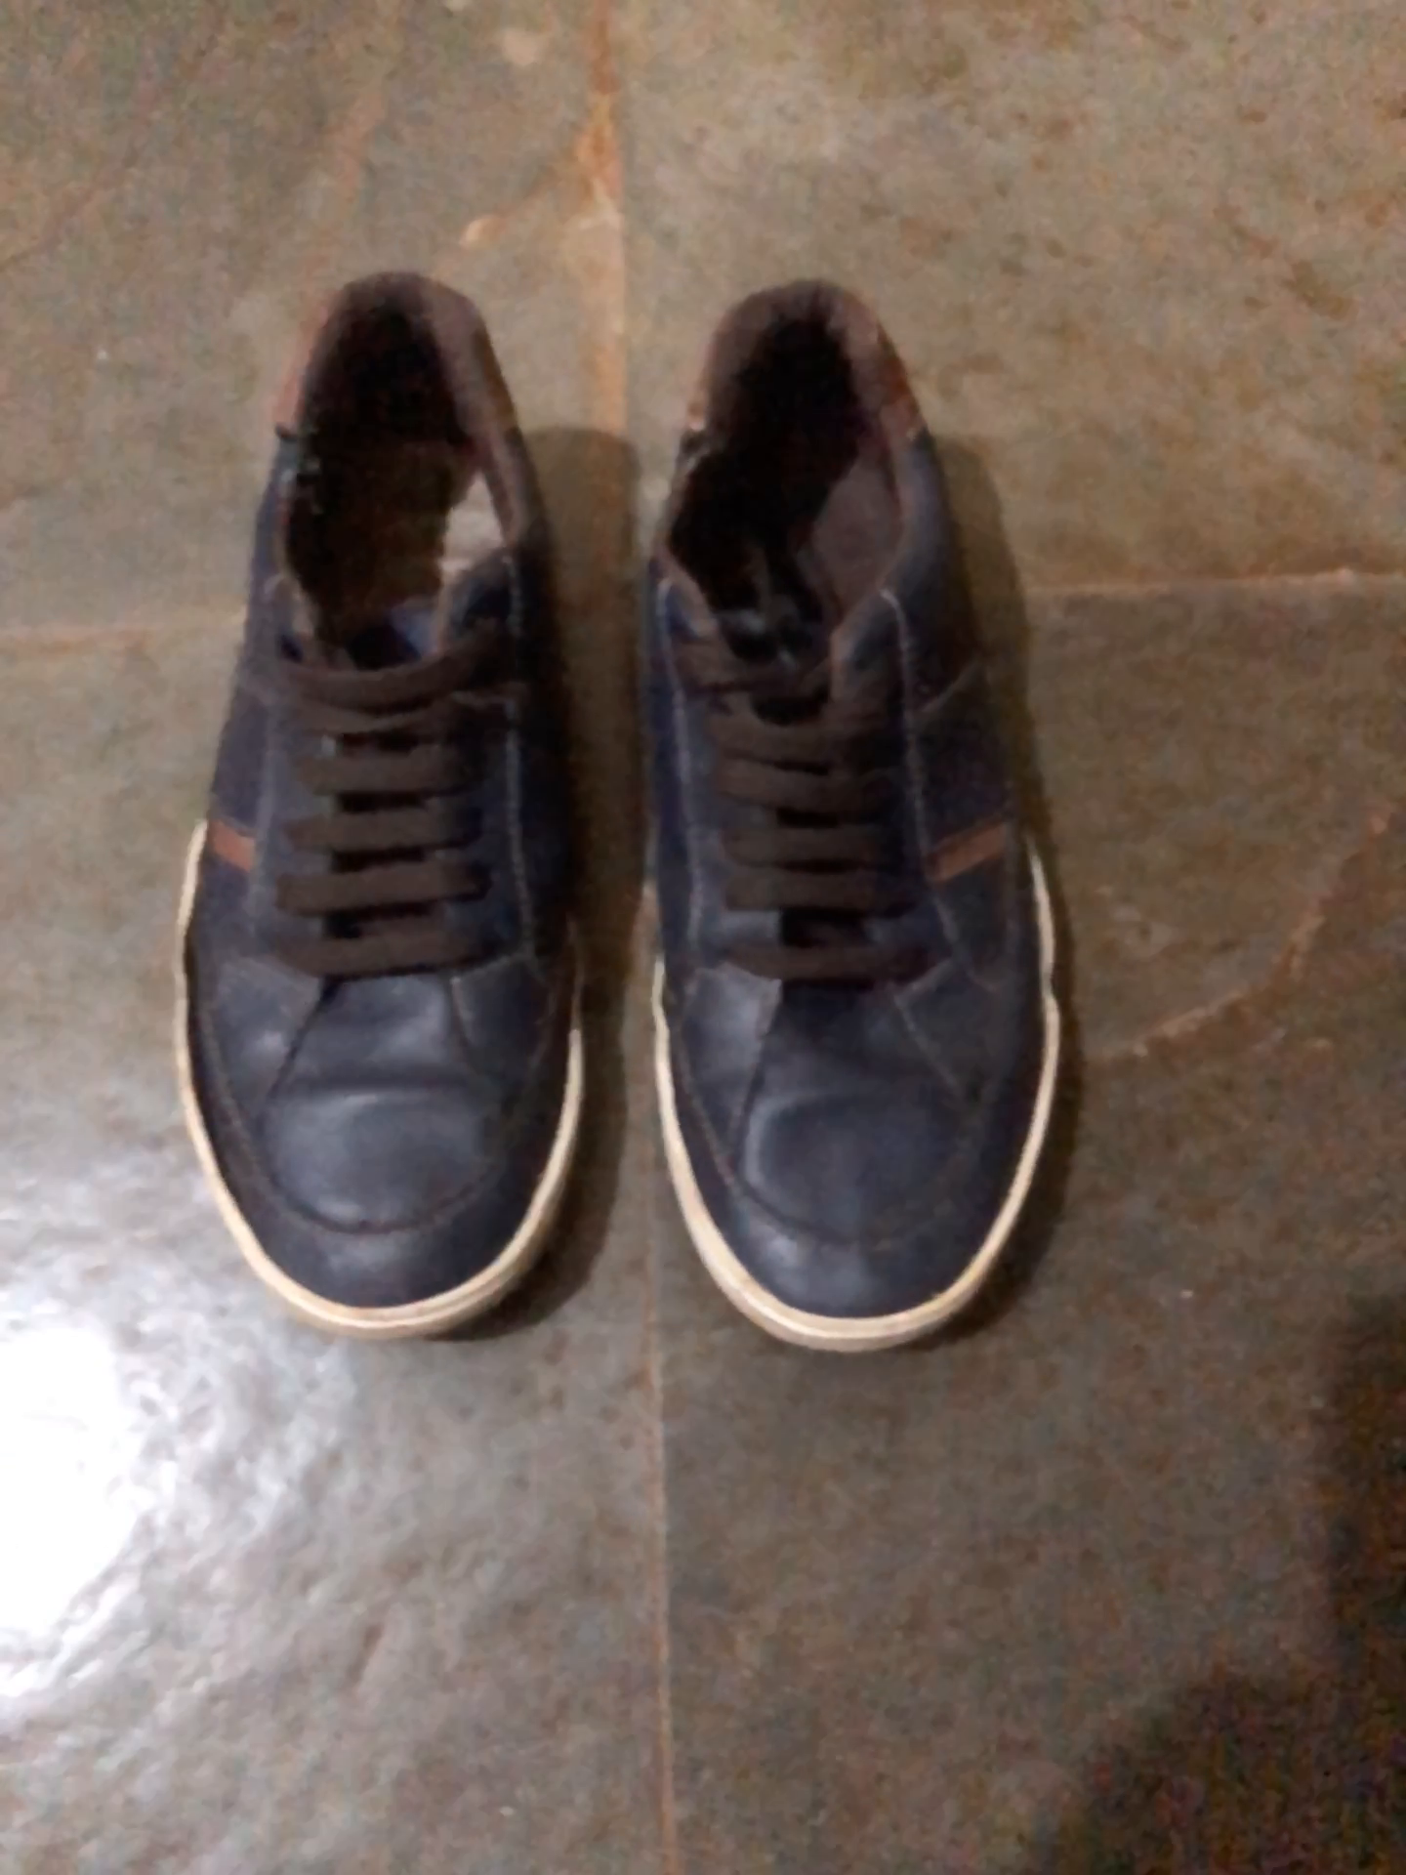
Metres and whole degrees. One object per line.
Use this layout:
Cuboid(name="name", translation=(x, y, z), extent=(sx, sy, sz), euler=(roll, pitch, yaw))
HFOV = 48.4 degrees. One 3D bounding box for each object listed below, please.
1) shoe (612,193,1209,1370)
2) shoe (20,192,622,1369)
Cuboid(name="shoe", translation=(0.040, -0.041, 0.417), extent=(0.110, 0.100, 0.291), euler=(-4, 73, -2))
Cuboid(name="shoe", translation=(-0.087, -0.040, 0.414), extent=(0.120, 0.100, 0.291), euler=(-2, 73, -2))
